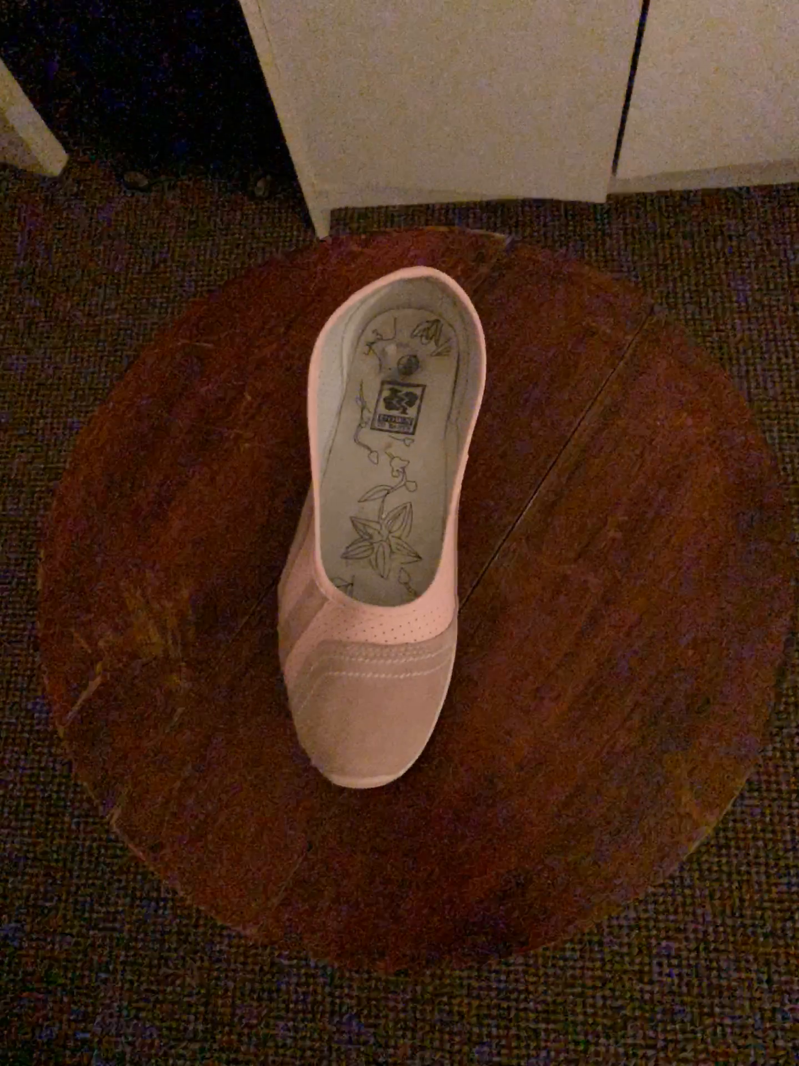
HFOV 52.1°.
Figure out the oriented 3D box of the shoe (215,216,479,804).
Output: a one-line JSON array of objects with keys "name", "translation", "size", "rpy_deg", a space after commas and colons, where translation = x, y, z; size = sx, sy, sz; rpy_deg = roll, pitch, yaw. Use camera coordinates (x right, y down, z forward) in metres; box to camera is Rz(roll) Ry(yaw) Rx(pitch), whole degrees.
[{"name": "shoe", "translation": [-0.014, -0.016, 0.393], "size": [0.090, 0.070, 0.271], "rpy_deg": [2, 72, 8]}]
